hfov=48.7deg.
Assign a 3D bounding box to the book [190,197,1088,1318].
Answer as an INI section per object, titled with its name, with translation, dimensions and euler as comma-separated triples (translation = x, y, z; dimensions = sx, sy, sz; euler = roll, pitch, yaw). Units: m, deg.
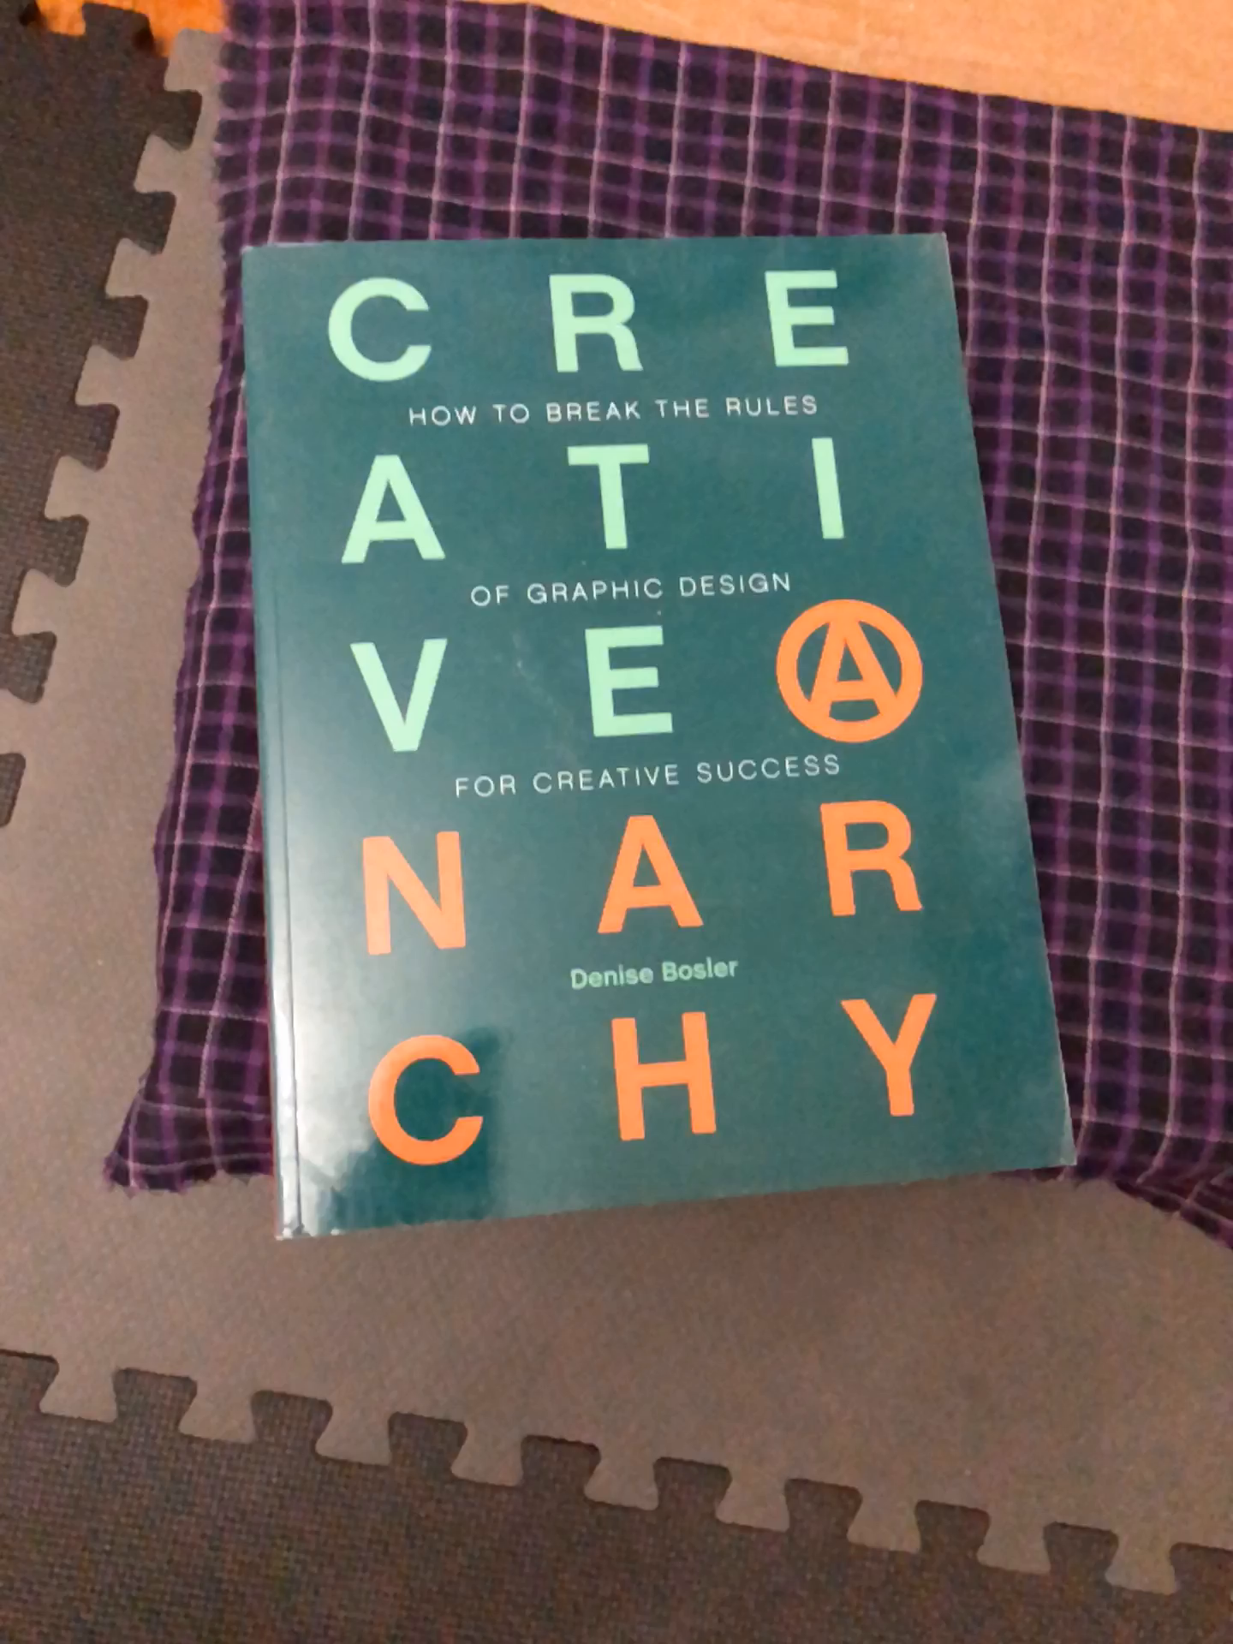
[book]
translation = 0.000, -0.031, 0.382
dimensions = 0.220, 0.020, 0.300
euler = -4, 80, -6
